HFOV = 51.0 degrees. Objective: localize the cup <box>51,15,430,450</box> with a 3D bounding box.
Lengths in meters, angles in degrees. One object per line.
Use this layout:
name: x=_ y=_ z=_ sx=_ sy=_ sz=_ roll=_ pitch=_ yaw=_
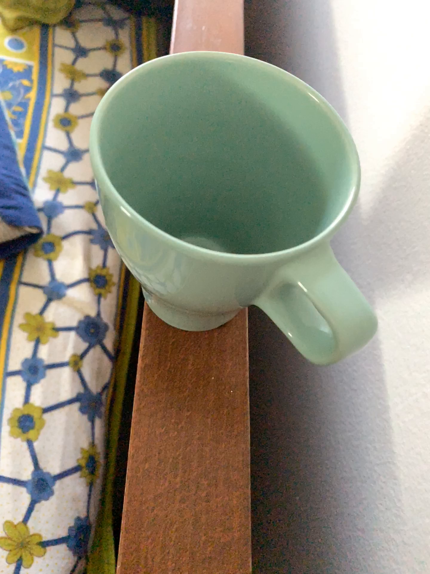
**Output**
cup: x=0.012 y=-0.016 z=0.181 sx=0.082 sy=0.091 sz=0.123 roll=-32 pitch=74 yaw=-19
